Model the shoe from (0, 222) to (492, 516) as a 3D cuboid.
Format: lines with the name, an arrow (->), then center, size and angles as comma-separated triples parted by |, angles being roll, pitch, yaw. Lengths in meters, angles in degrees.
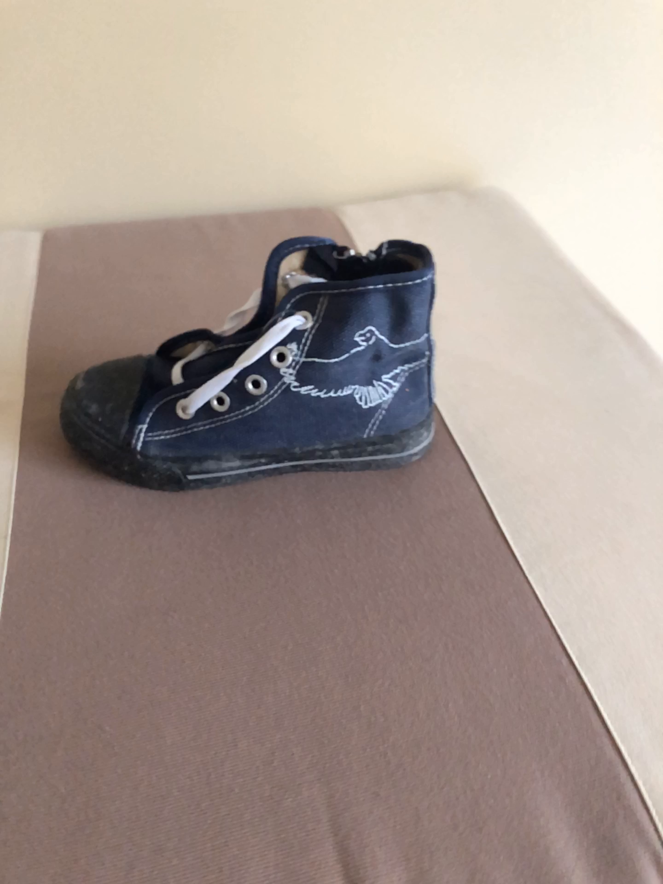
shoe -> -0.037, -0.038, 0.367 | 0.200, 0.099, 0.090 | -4, 42, -6
